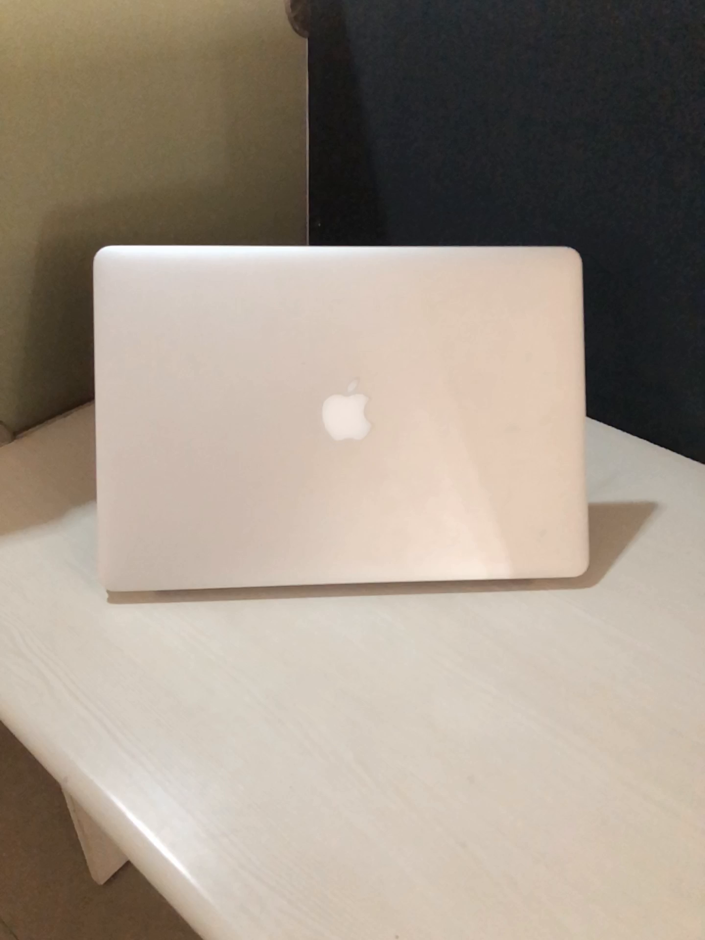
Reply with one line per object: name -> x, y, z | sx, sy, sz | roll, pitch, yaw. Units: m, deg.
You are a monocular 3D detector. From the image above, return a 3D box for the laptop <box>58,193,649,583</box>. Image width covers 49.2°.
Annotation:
laptop -> -0.006, -0.072, 0.597 | 0.343, 0.197, 0.236 | 0, 37, -5
